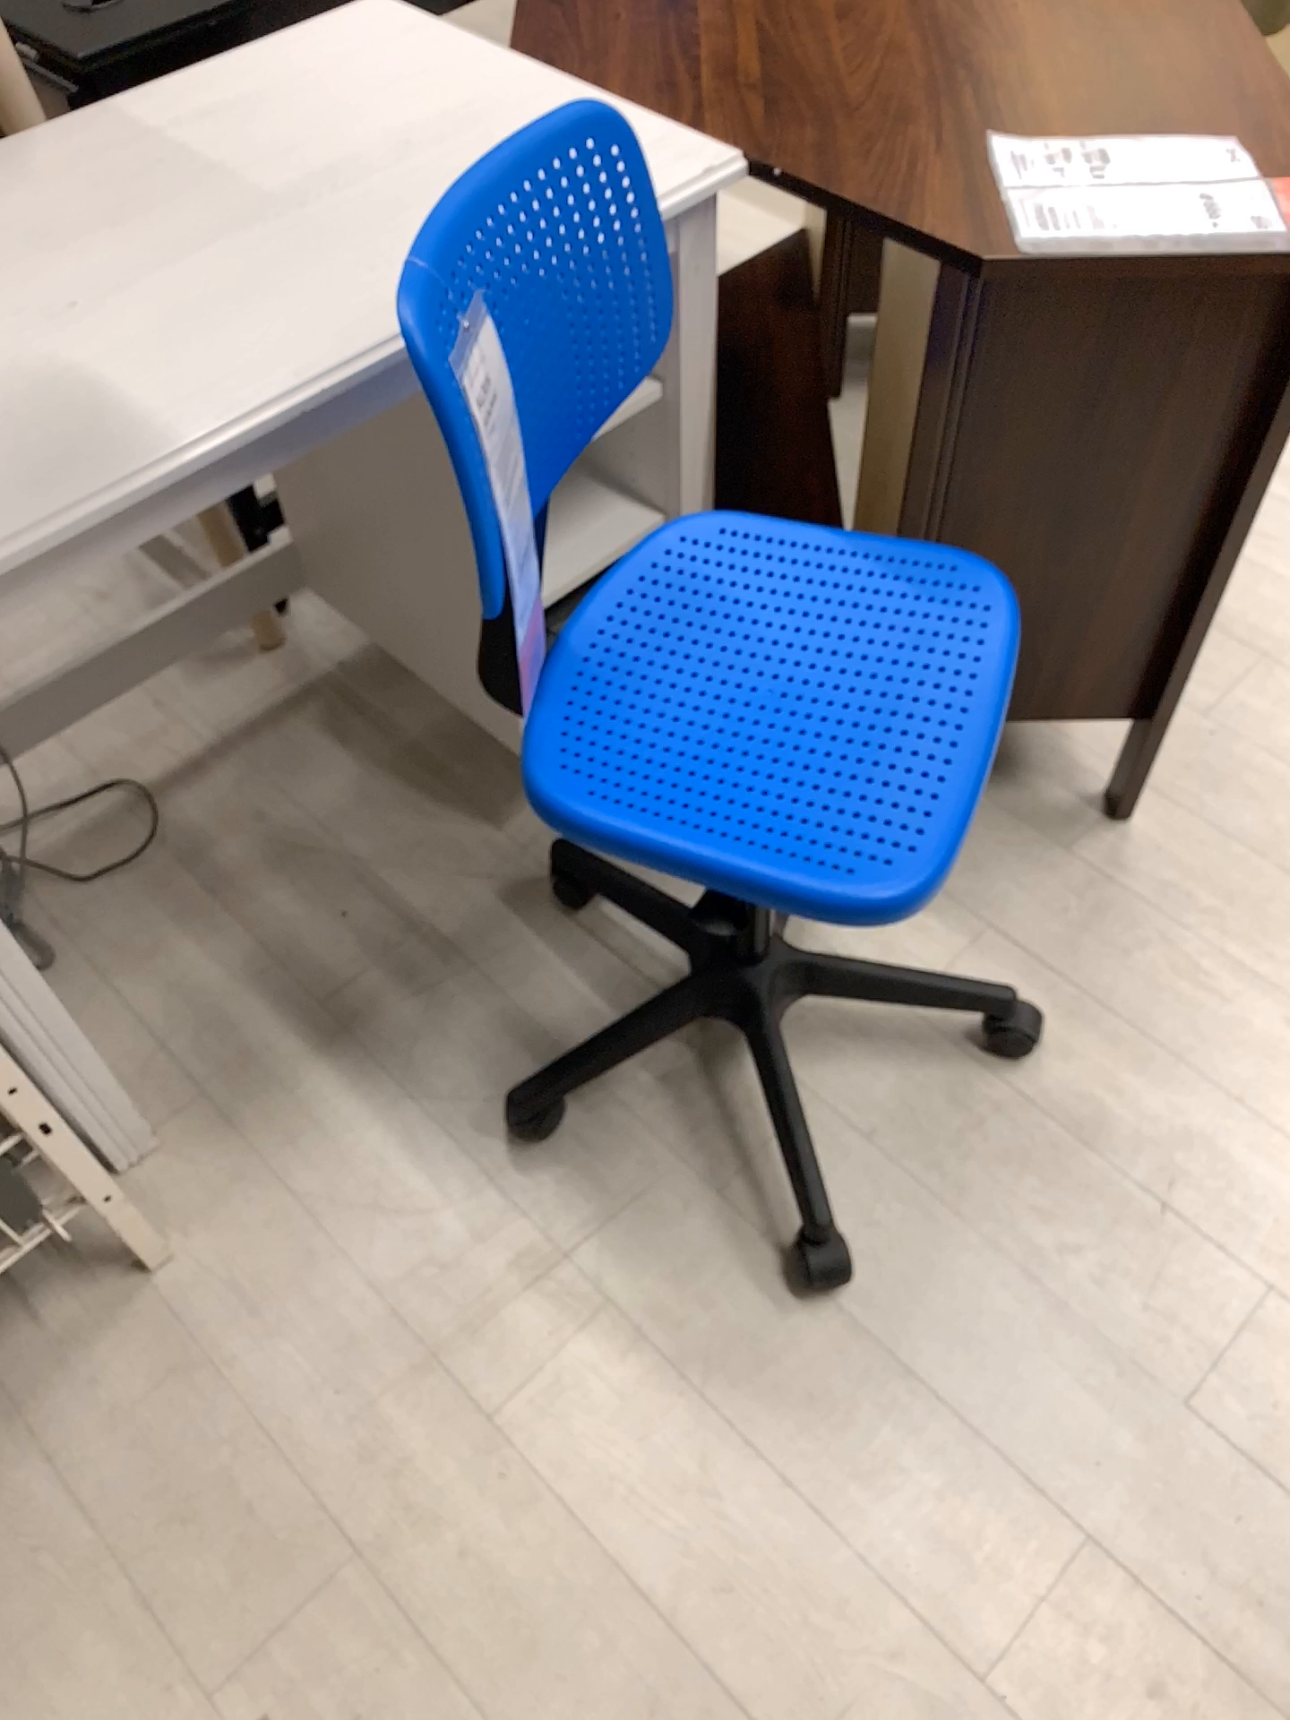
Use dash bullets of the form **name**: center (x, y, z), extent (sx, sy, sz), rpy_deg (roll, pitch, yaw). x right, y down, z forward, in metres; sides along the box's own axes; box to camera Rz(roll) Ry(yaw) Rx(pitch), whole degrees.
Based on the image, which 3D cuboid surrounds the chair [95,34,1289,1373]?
- **chair**: center (0.110, -0.092, 1.167), extent (0.620, 0.857, 0.612), rpy_deg (17, 55, 15)
